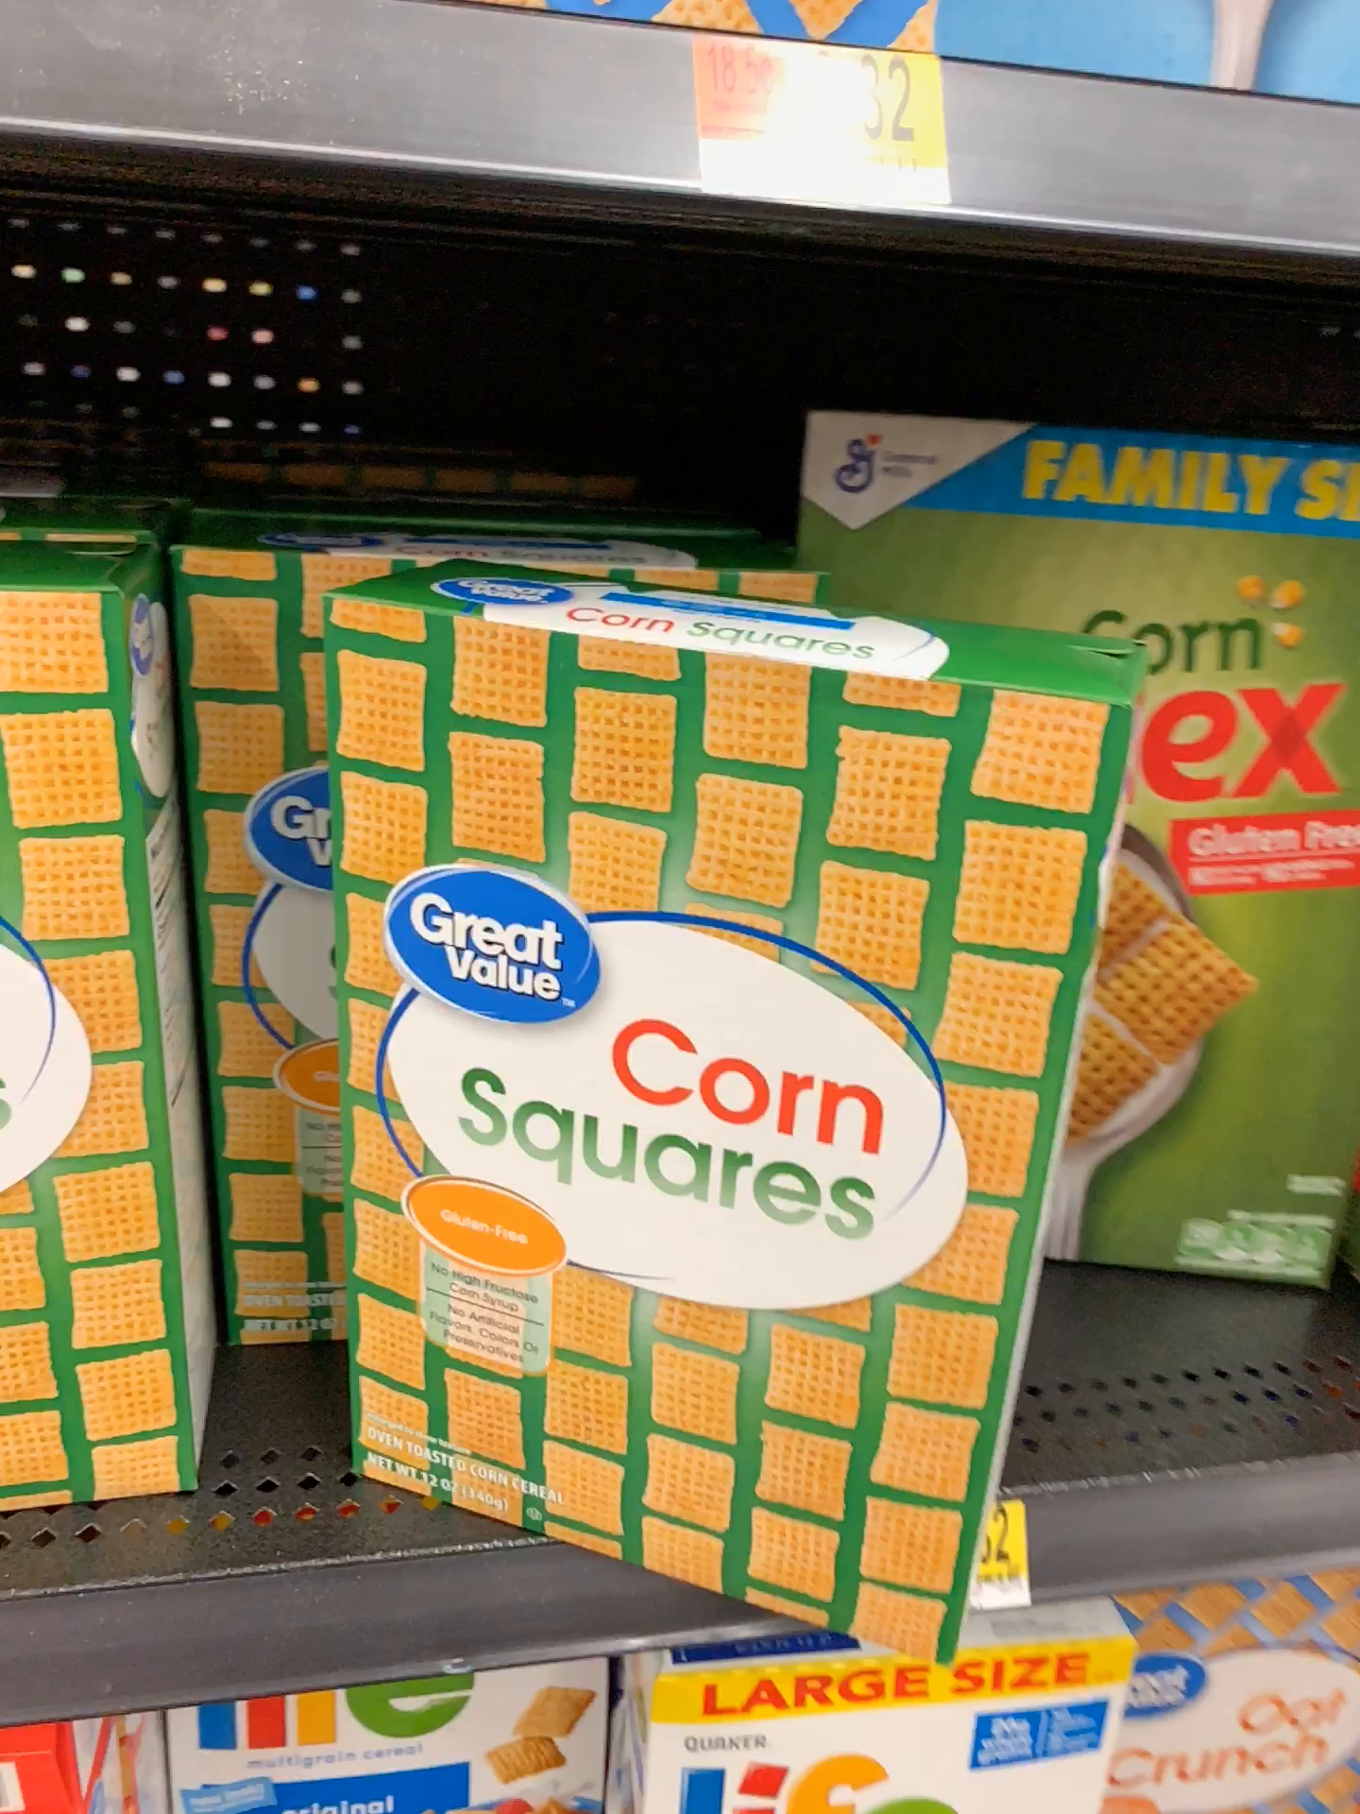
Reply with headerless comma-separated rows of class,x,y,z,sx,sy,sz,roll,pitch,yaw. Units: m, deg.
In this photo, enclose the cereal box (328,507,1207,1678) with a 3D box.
cereal box,0.011,0.052,0.395,0.200,0.289,0.070,11,24,15
